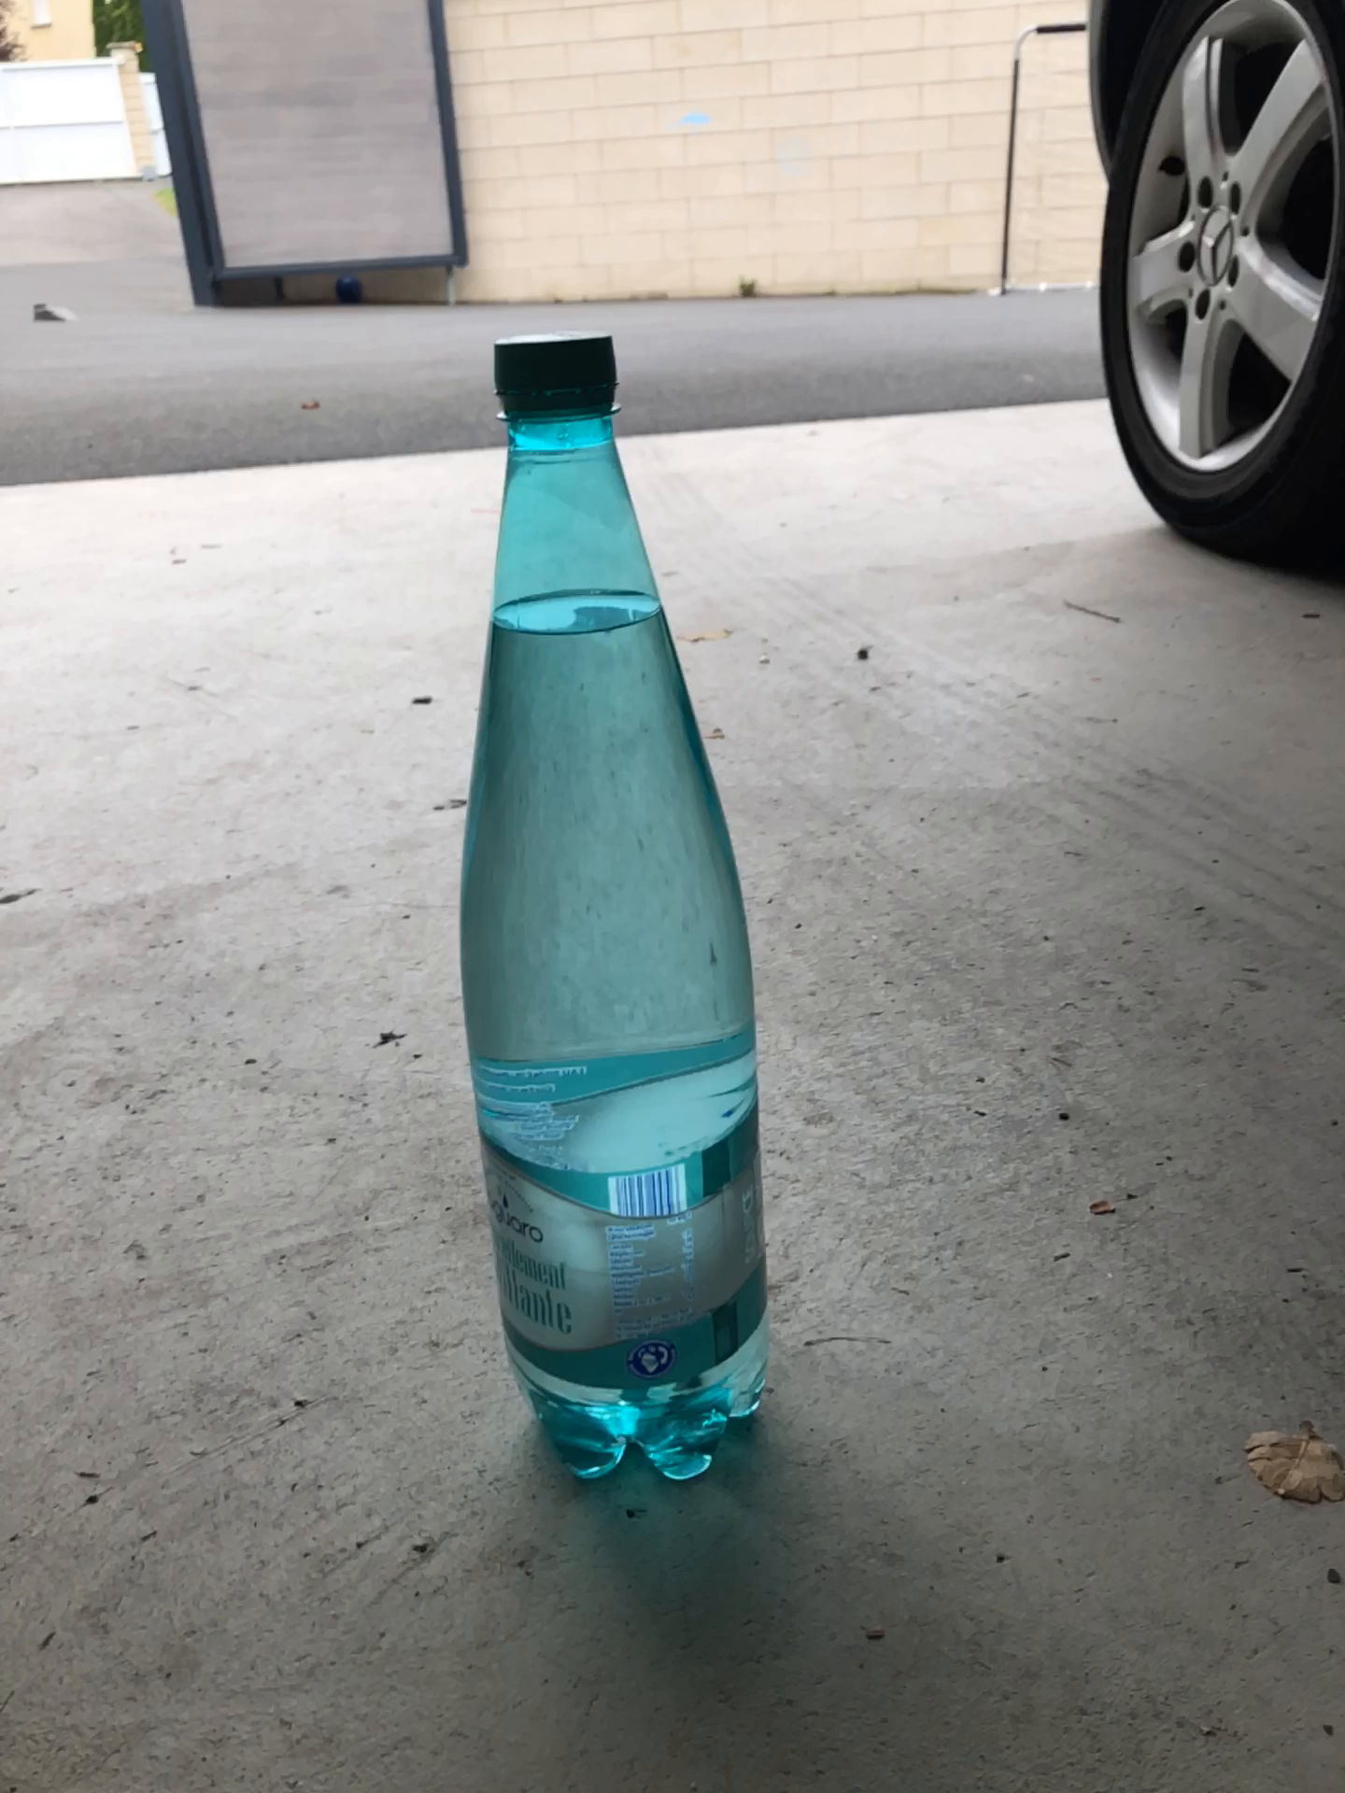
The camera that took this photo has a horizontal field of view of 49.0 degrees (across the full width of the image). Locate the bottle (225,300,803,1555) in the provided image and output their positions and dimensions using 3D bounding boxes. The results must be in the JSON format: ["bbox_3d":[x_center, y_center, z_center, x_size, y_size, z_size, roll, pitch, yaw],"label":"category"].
[{"bbox_3d":[-0.034,0.010,0.408,0.090,0.318,0.100,-19,28,-30],"label":"bottle"}]
